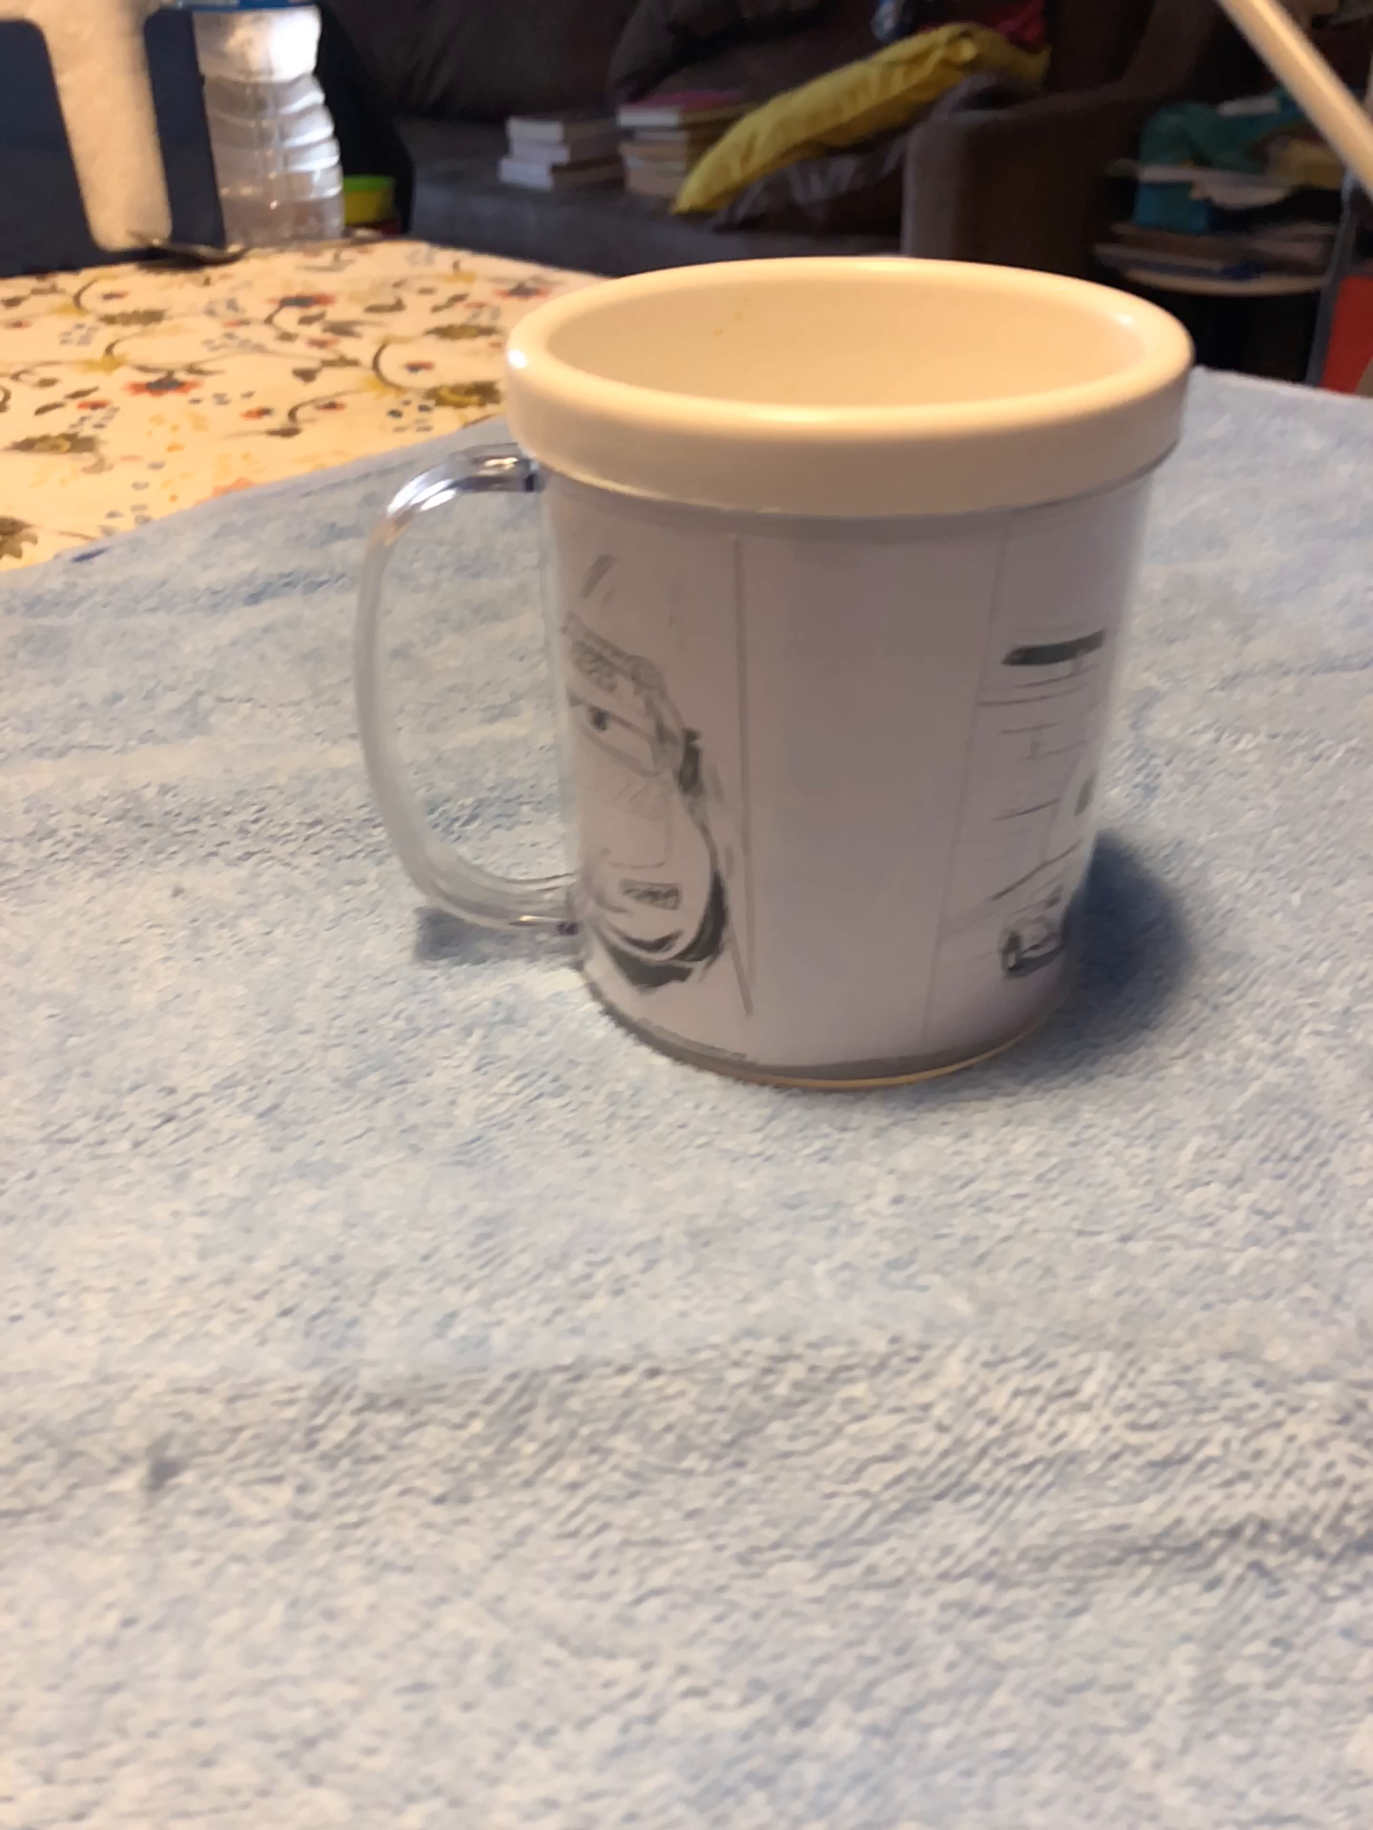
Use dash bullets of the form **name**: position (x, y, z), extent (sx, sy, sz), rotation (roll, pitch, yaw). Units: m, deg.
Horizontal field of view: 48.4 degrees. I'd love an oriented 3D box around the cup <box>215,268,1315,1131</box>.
- **cup**: position (0.009, -0.036, 0.232), extent (0.120, 0.099, 0.091), rotation (0, 34, 0)
